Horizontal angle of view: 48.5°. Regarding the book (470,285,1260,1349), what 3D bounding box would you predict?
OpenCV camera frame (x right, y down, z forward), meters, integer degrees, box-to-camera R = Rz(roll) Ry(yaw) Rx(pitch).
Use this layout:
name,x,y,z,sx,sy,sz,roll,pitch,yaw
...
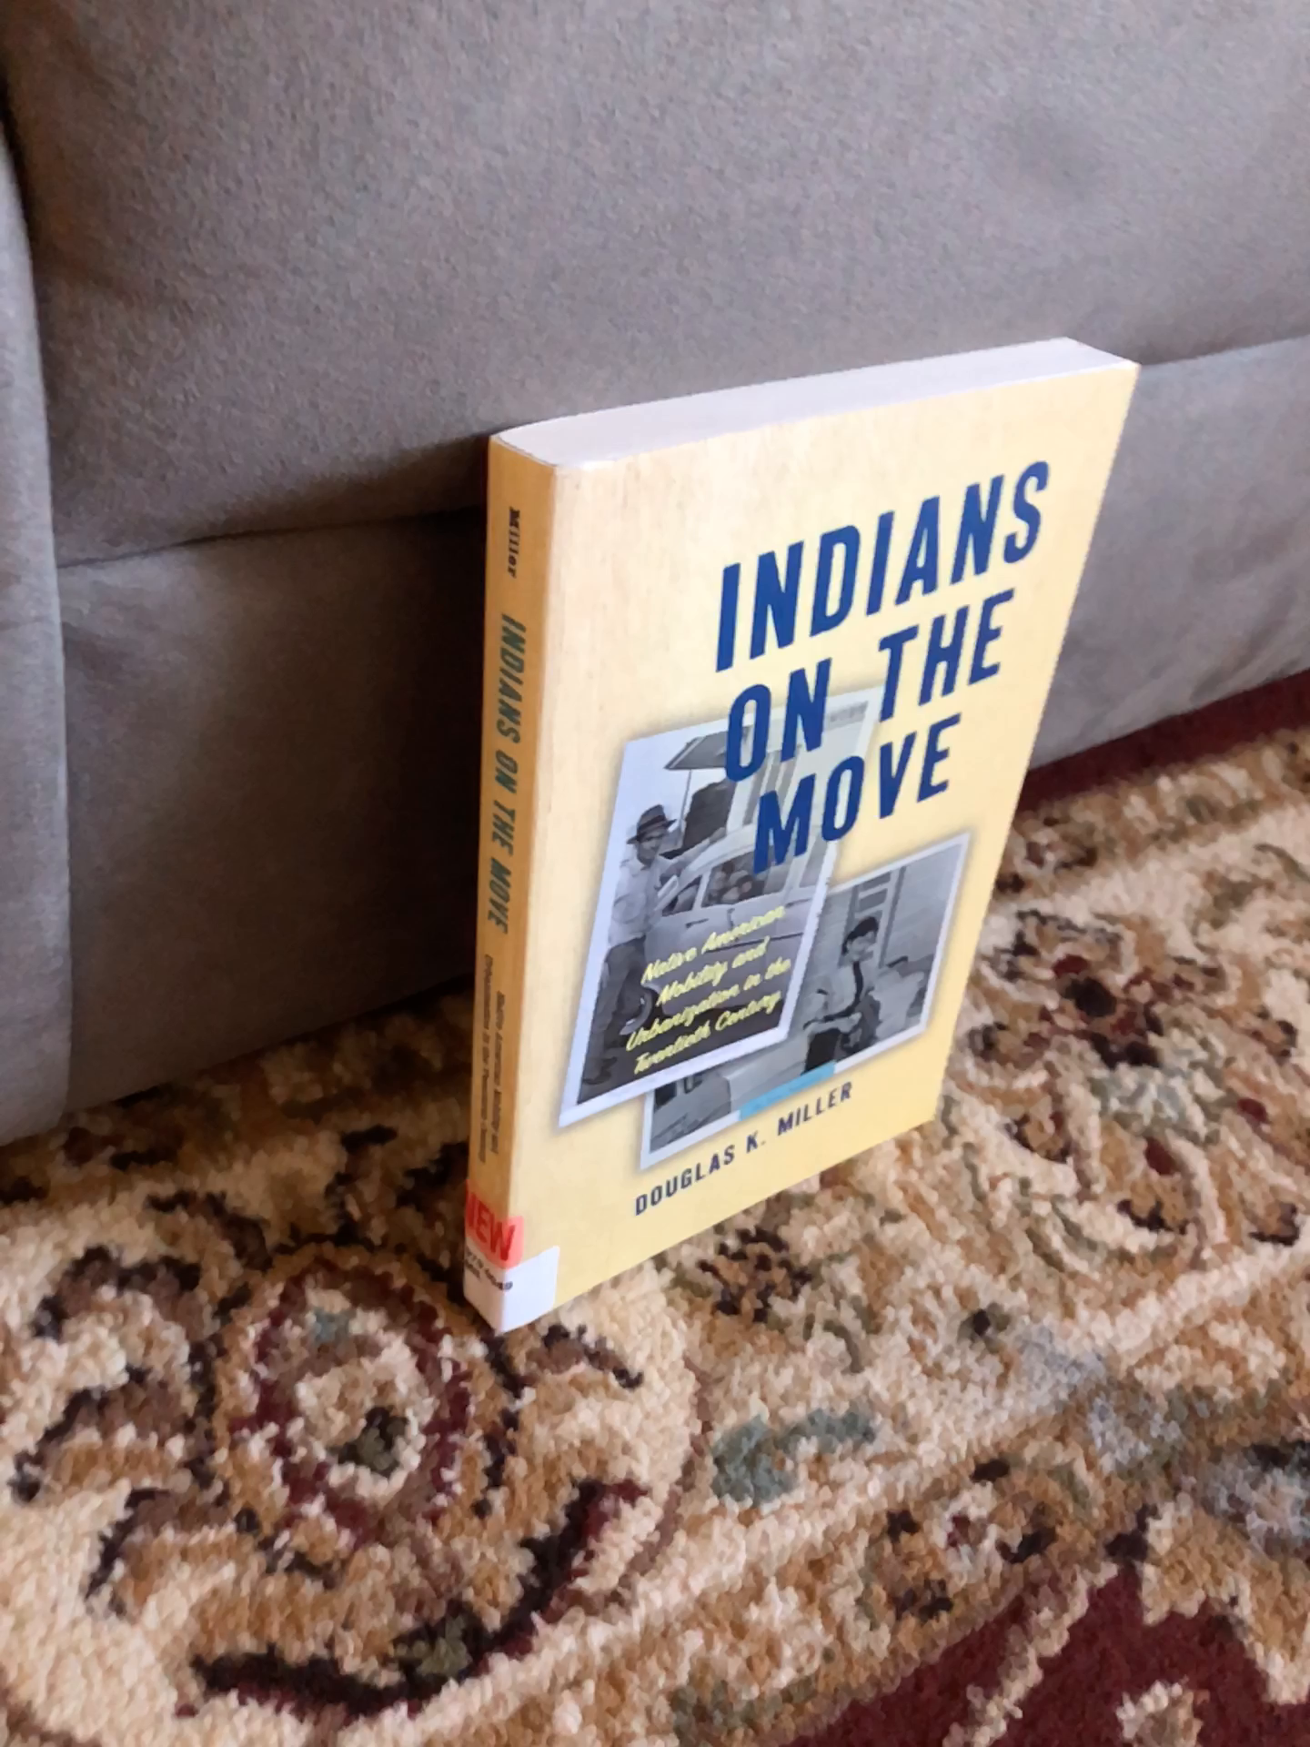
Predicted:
name,x,y,z,sx,sy,sz,roll,pitch,yaw
book,0.037,-0.004,0.334,0.160,0.230,0.030,-20,45,-29
